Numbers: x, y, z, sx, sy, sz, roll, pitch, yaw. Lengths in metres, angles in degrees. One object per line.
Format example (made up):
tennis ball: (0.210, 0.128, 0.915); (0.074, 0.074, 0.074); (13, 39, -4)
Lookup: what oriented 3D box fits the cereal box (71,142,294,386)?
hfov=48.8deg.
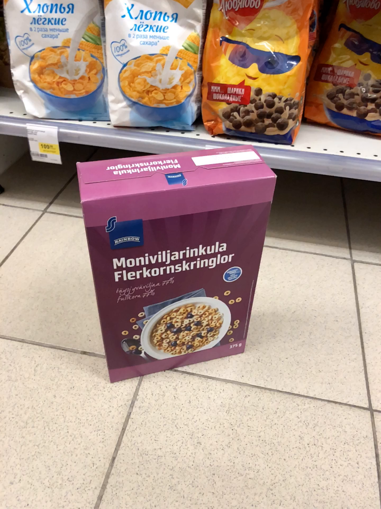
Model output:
cereal box: (-0.012, 0.022, 0.510); (0.210, 0.278, 0.080); (-9, 41, -13)
